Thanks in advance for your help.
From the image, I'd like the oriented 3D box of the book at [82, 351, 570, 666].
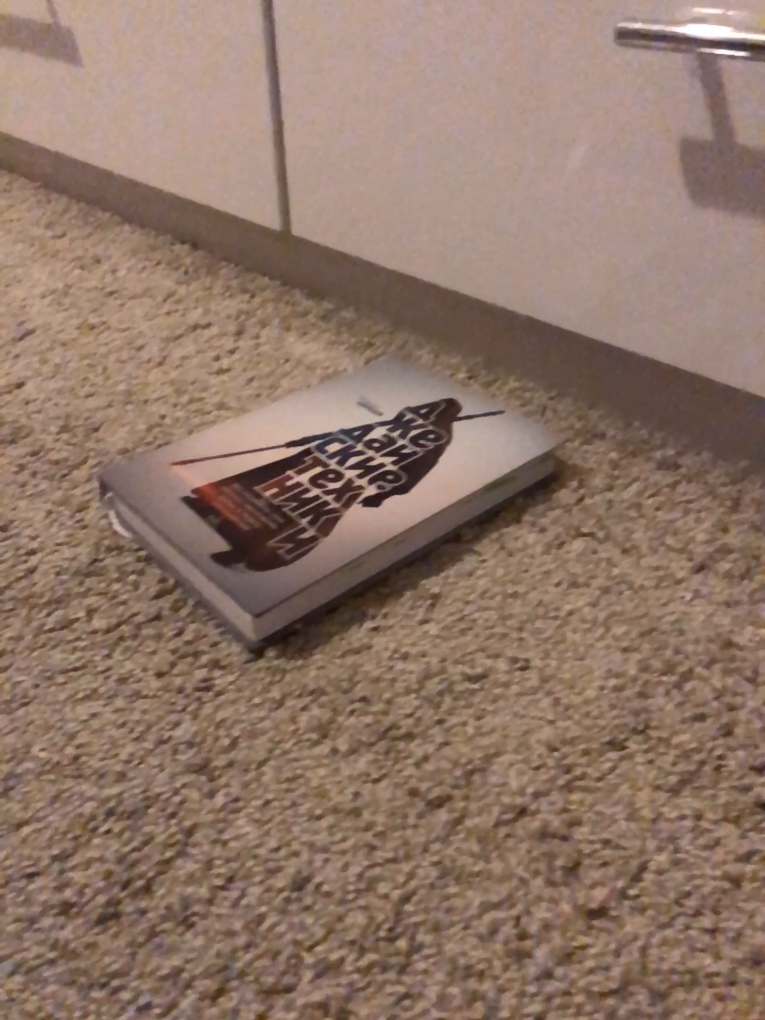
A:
[{"bbox_3d":[-0.027,-0.019,0.466,0.221,0.026,0.151,-28,44,-32],"label":"book"}]
